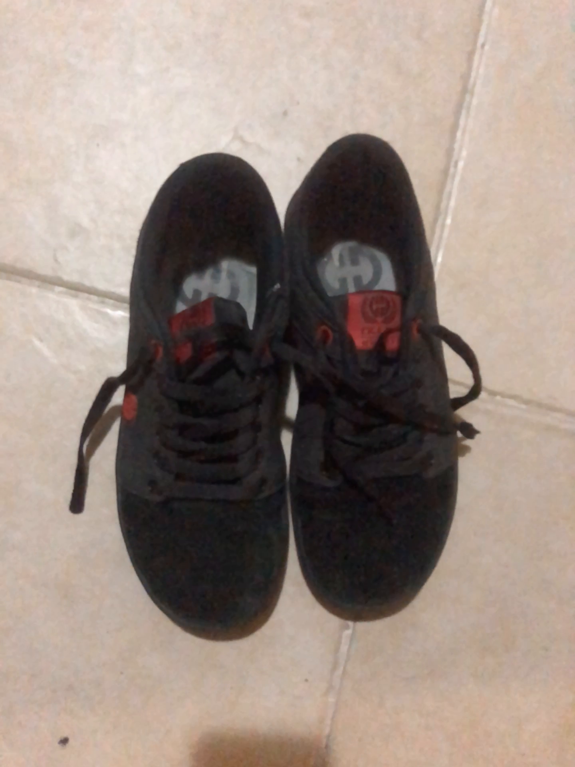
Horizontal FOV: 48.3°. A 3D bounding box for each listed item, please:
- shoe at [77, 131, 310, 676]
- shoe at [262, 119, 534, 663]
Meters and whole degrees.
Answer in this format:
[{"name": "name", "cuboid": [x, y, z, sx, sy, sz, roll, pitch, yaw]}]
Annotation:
[{"name": "shoe", "cuboid": [-0.046, 0.008, 0.337, 0.100, 0.100, 0.240, 0, 86, -6]}, {"name": "shoe", "cuboid": [0.047, 0.002, 0.339, 0.100, 0.100, 0.240, -4, 86, -6]}]
